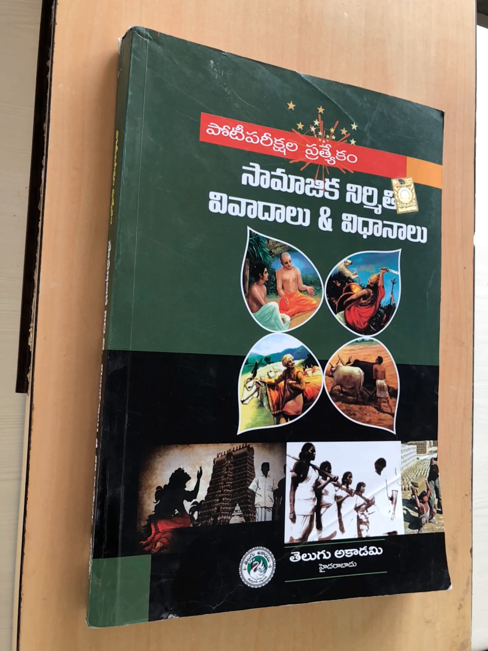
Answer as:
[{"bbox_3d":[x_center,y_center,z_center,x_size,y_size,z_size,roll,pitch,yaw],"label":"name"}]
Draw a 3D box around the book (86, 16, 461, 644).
[{"bbox_3d":[0.024,0.003,0.292,0.190,0.050,0.270,4,85,-22],"label":"book"}]
